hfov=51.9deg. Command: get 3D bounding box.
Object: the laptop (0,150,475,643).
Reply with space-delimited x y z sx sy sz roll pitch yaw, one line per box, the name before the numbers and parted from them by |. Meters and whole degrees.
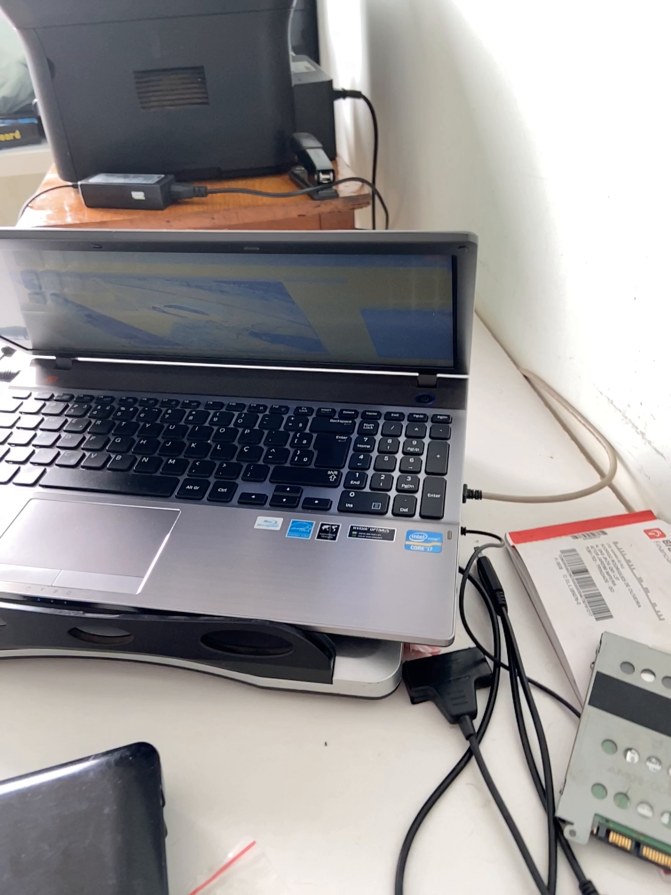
laptop | -0.105 -0.055 0.417 0.358 0.164 0.232 4 39 10
